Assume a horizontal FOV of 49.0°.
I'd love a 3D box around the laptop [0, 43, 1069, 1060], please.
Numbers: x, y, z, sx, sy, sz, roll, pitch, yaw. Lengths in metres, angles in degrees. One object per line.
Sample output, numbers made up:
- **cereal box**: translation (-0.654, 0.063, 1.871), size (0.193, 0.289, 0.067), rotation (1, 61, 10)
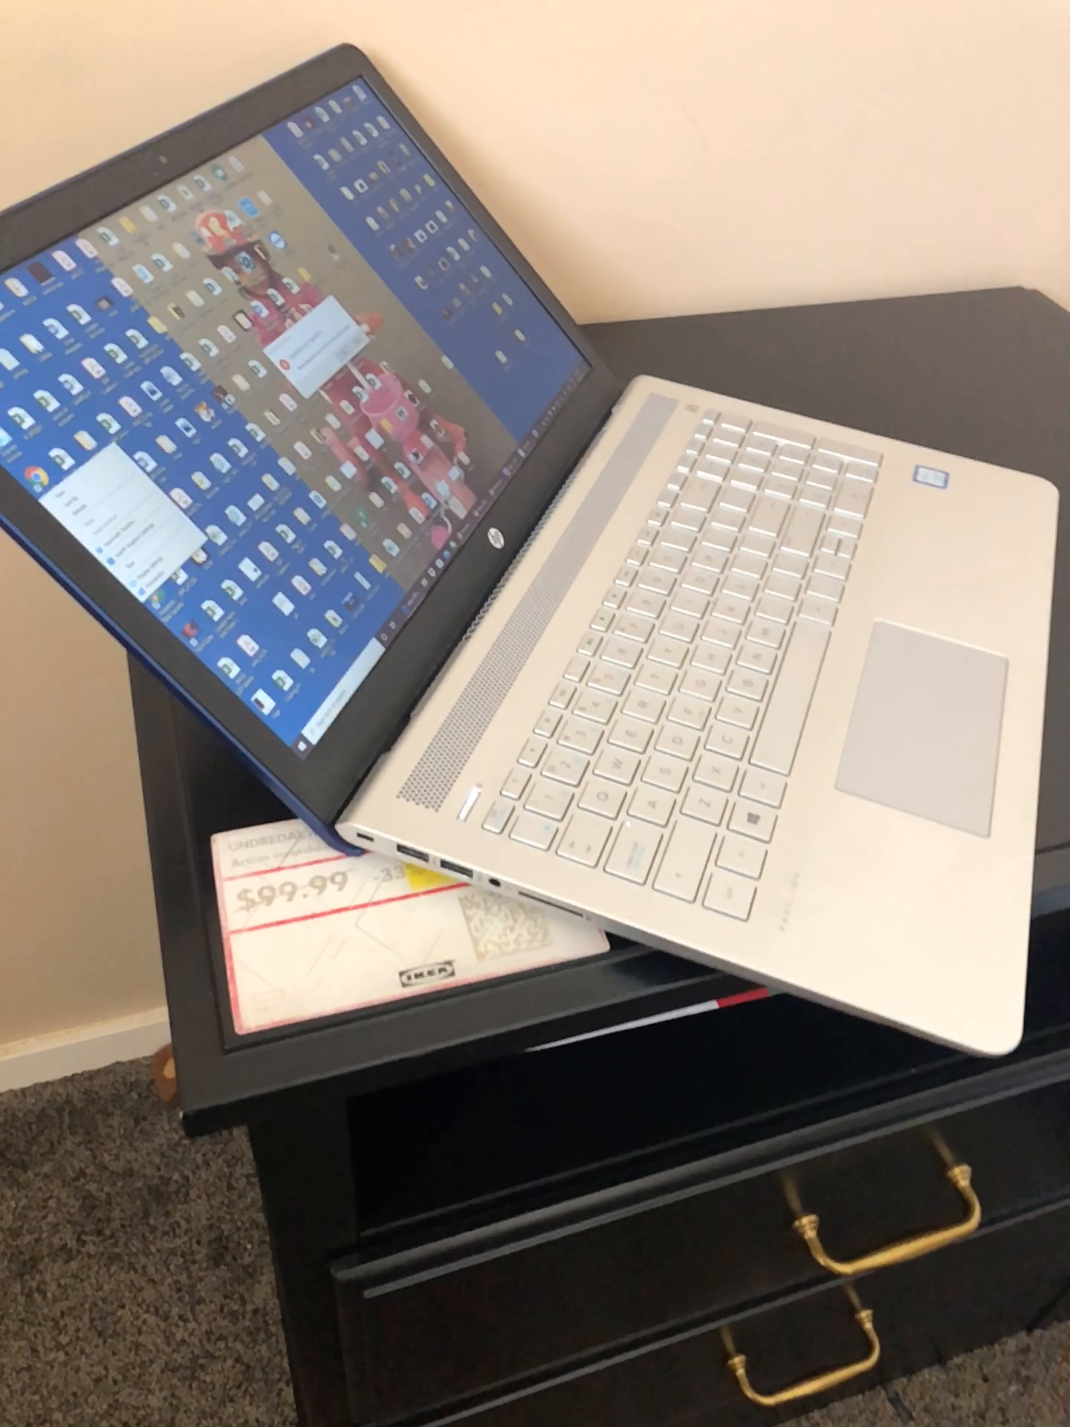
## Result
- **laptop**: translation (0.034, -0.119, 0.489), size (0.400, 0.141, 0.367), rotation (18, 44, 11)
